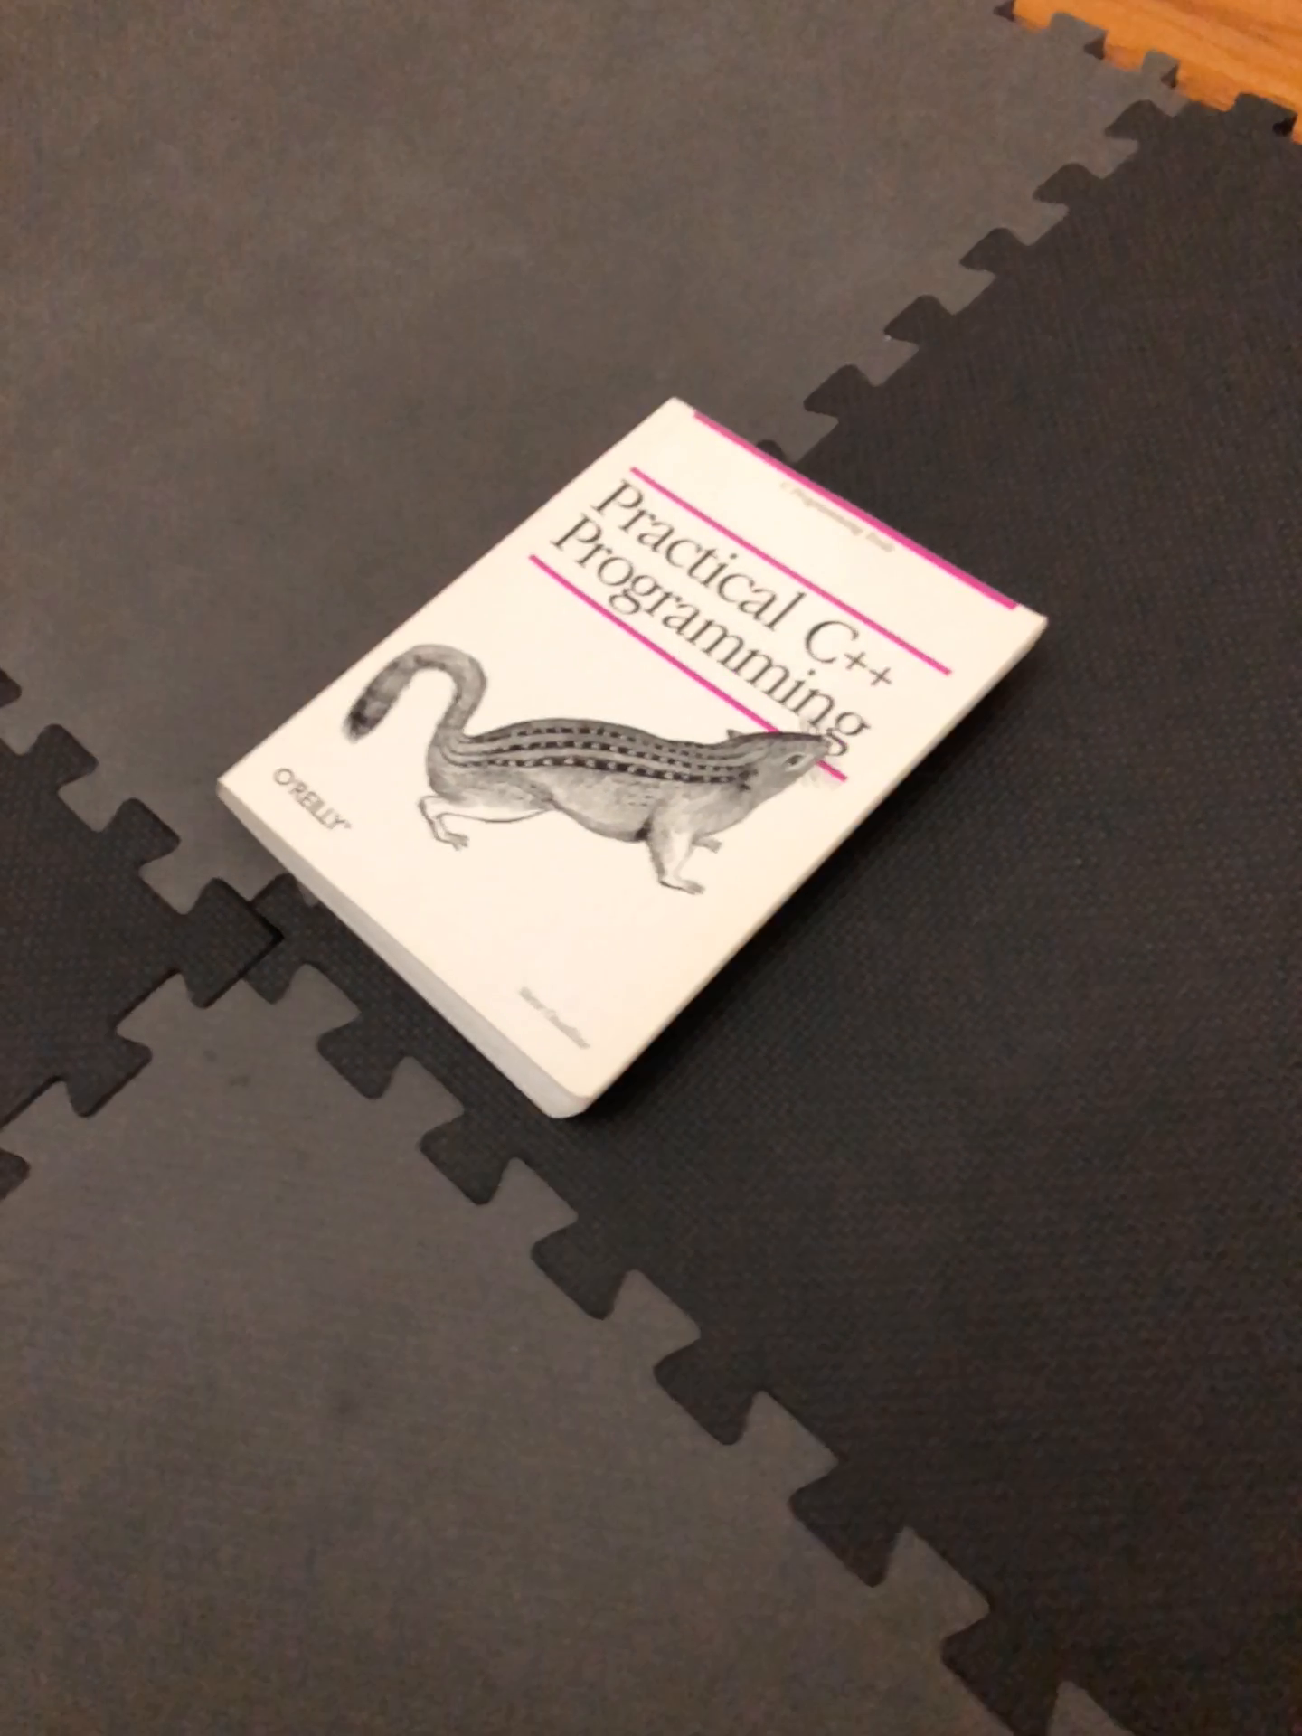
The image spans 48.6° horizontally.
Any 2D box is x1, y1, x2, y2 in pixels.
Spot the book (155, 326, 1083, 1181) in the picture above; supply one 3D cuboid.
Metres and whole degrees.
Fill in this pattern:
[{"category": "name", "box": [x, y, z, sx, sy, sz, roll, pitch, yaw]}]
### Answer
[{"category": "book", "box": [-0.009, -0.054, 0.516, 0.200, 0.050, 0.250, 40, 73, 18]}]
